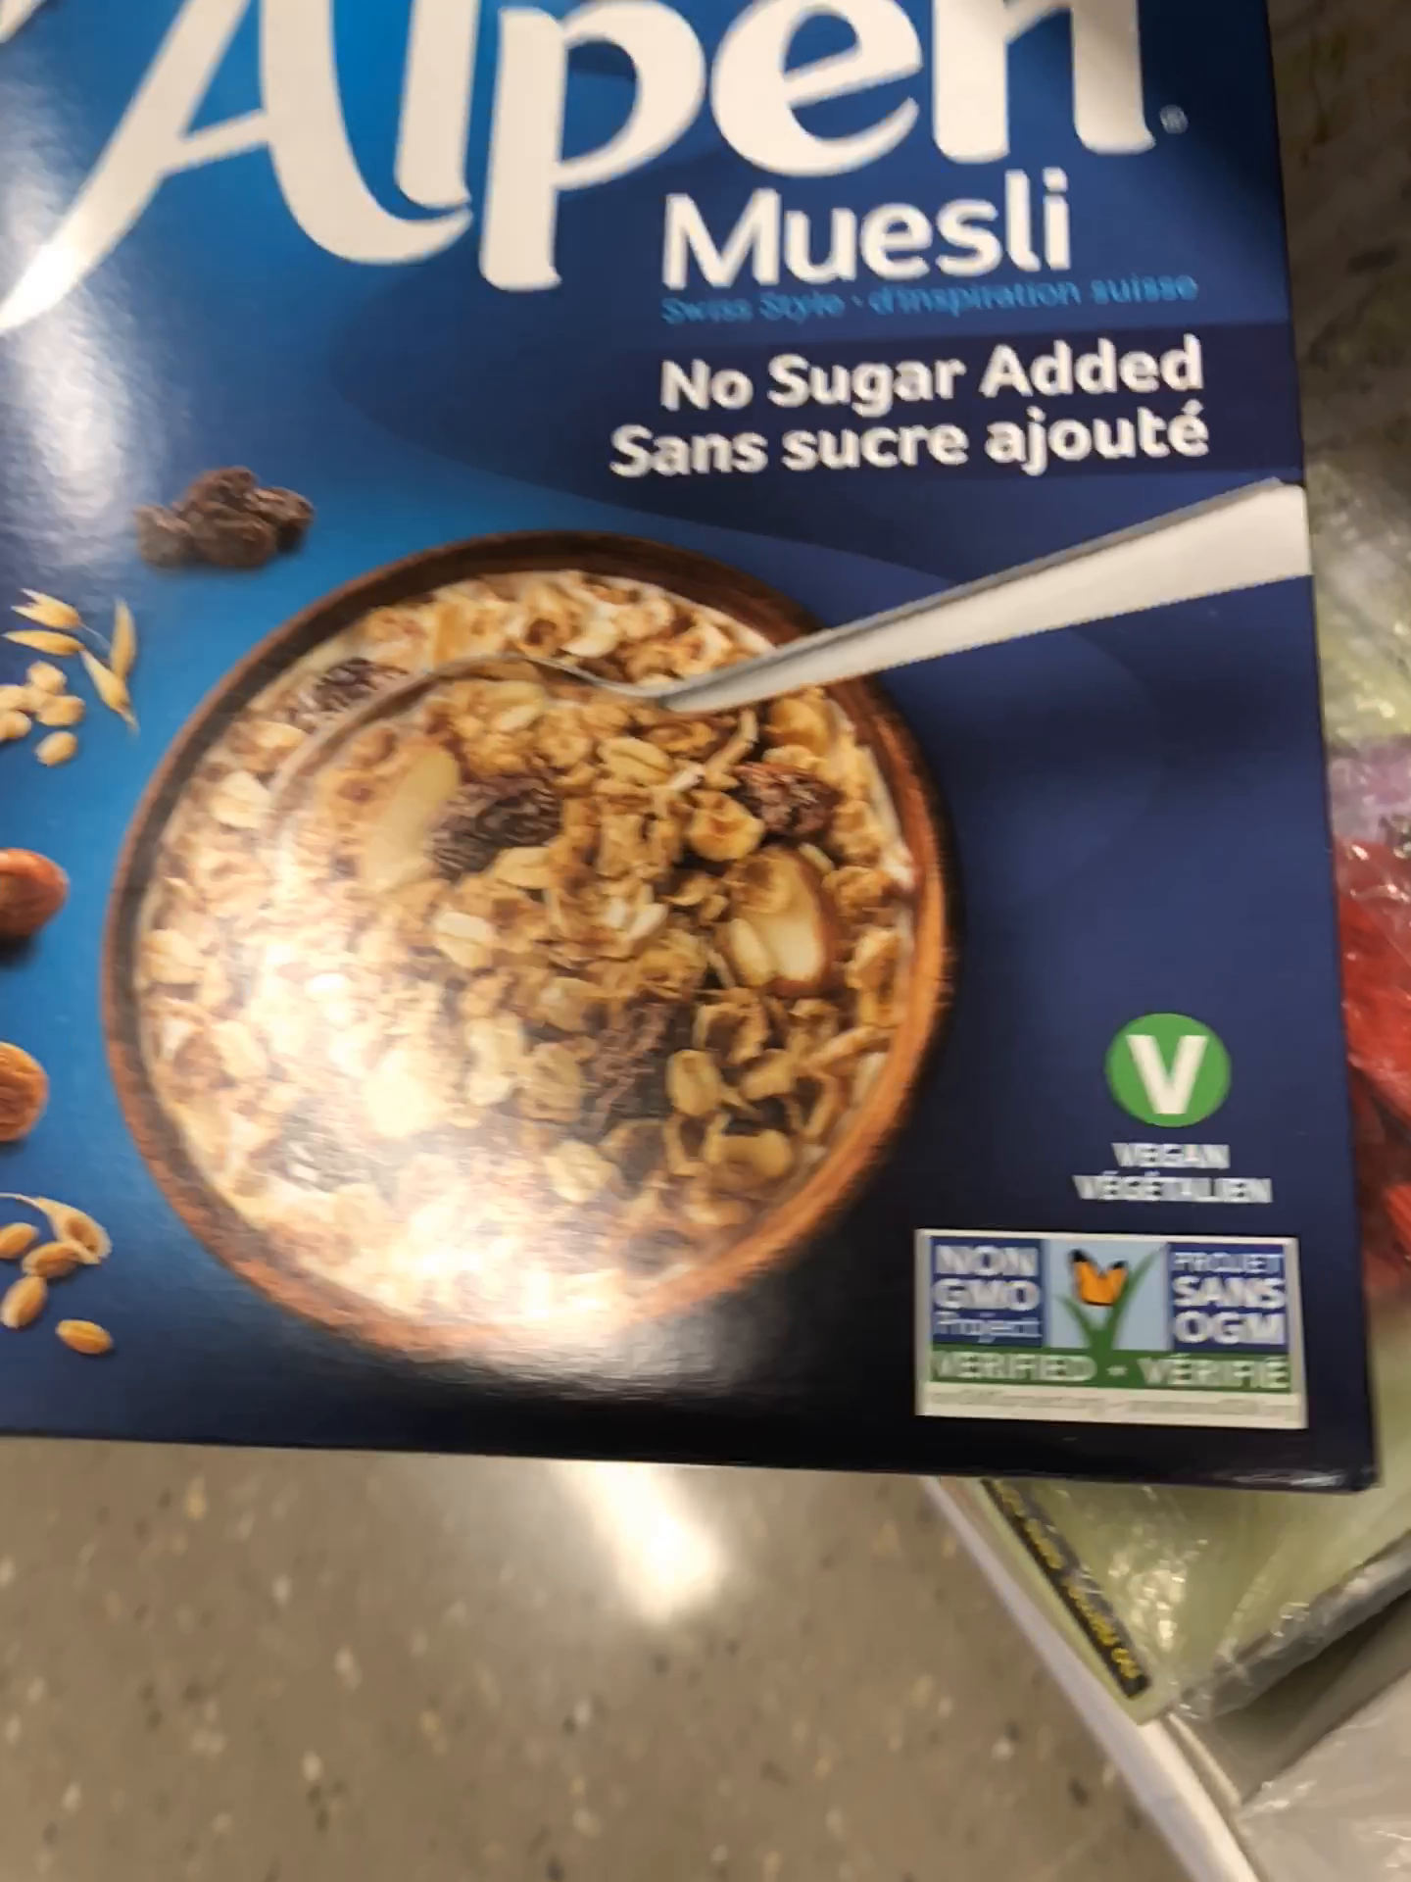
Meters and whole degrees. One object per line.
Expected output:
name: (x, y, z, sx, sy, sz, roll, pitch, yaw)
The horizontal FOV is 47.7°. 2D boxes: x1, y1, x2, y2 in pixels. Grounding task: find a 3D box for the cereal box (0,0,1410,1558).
cereal box: (-0.026, -0.060, 0.209, 0.200, 0.050, 0.250, -1, 74, 9)
